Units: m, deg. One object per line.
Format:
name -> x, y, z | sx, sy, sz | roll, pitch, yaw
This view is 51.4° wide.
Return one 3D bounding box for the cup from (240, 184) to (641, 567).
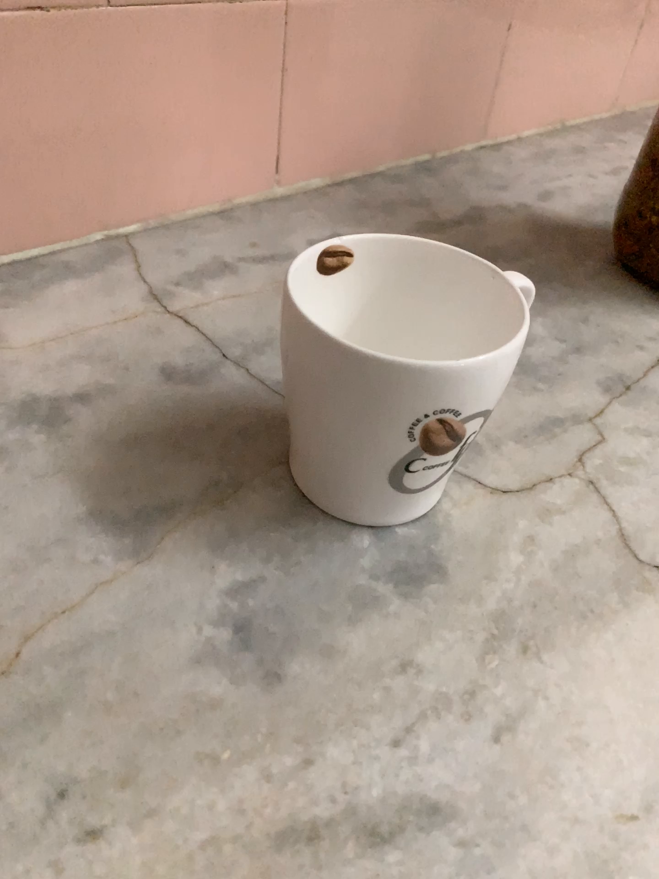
cup -> 0.033, -0.027, 0.224 | 0.100, 0.070, 0.070 | -29, 54, -35
